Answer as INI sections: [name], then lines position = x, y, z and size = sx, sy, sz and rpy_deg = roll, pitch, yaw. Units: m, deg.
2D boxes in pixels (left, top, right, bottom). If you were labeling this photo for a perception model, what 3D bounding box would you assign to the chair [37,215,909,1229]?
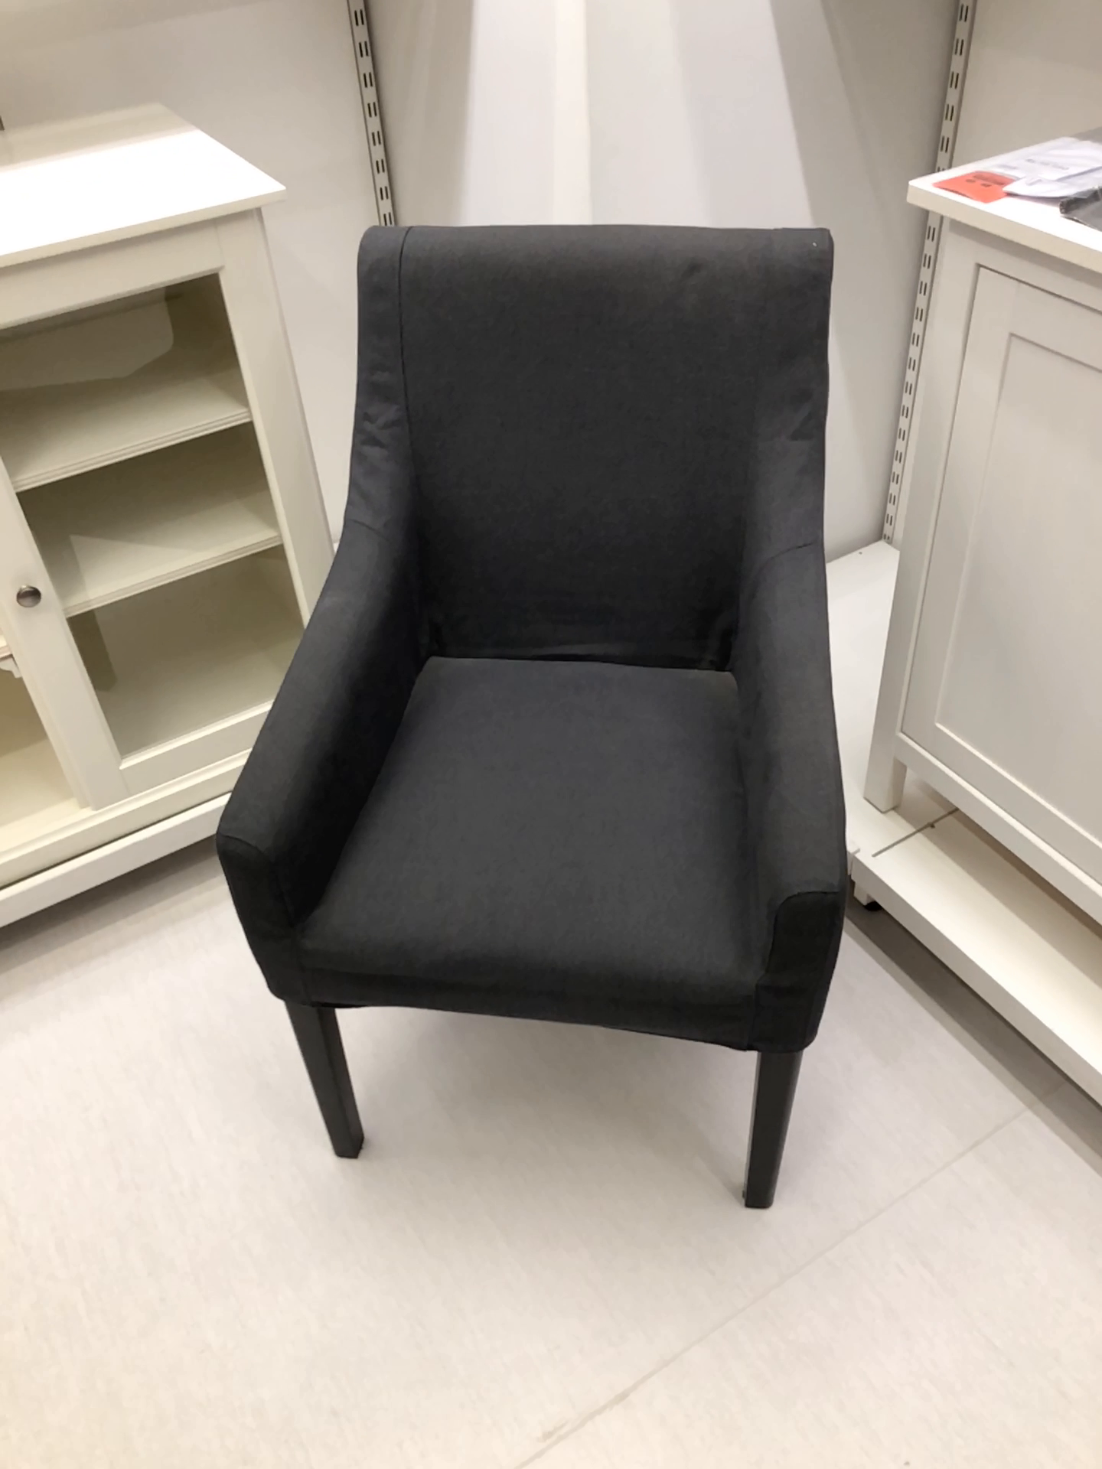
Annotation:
[chair]
position = 0.006, -0.011, 1.342
size = 0.610, 0.884, 0.624
rpy_deg = 5, 42, 10
